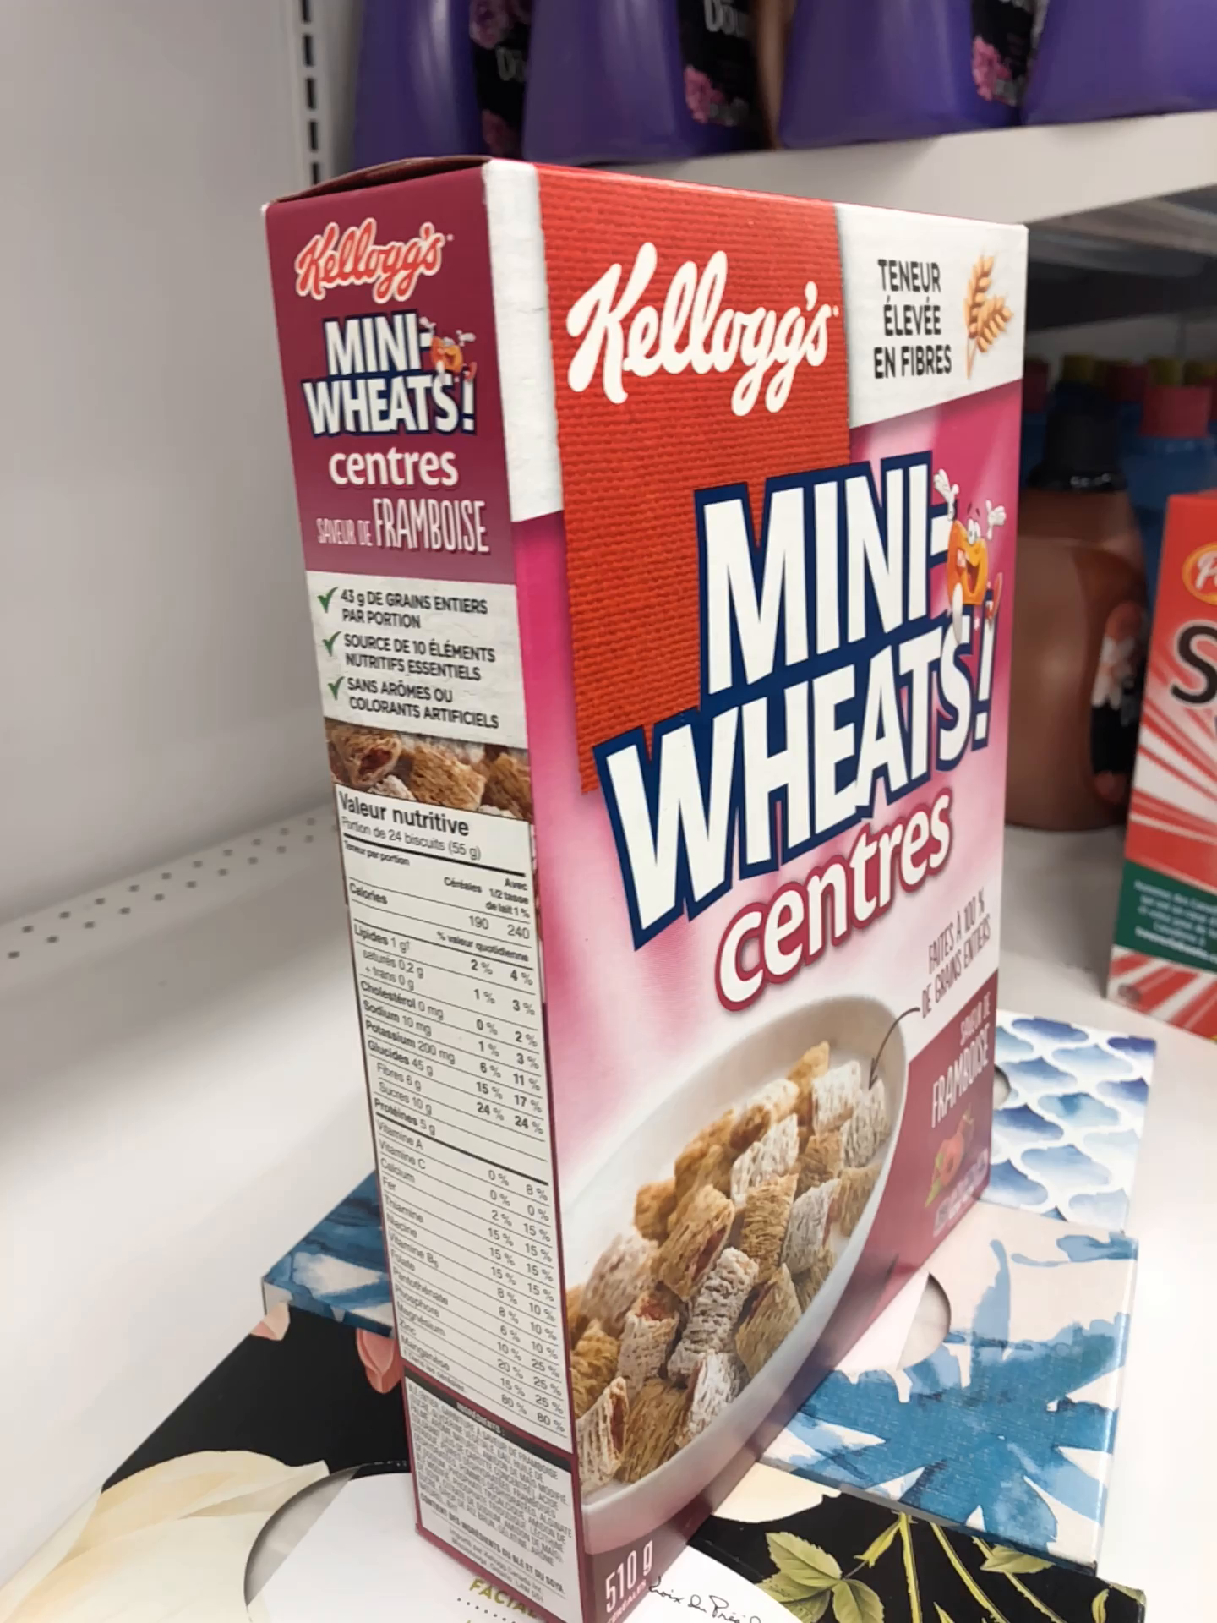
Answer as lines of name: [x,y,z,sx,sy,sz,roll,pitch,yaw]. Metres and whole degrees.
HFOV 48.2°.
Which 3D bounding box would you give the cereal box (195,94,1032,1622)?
cereal box: [0.028,0.004,0.309,0.050,0.269,0.210,9,21,36]
